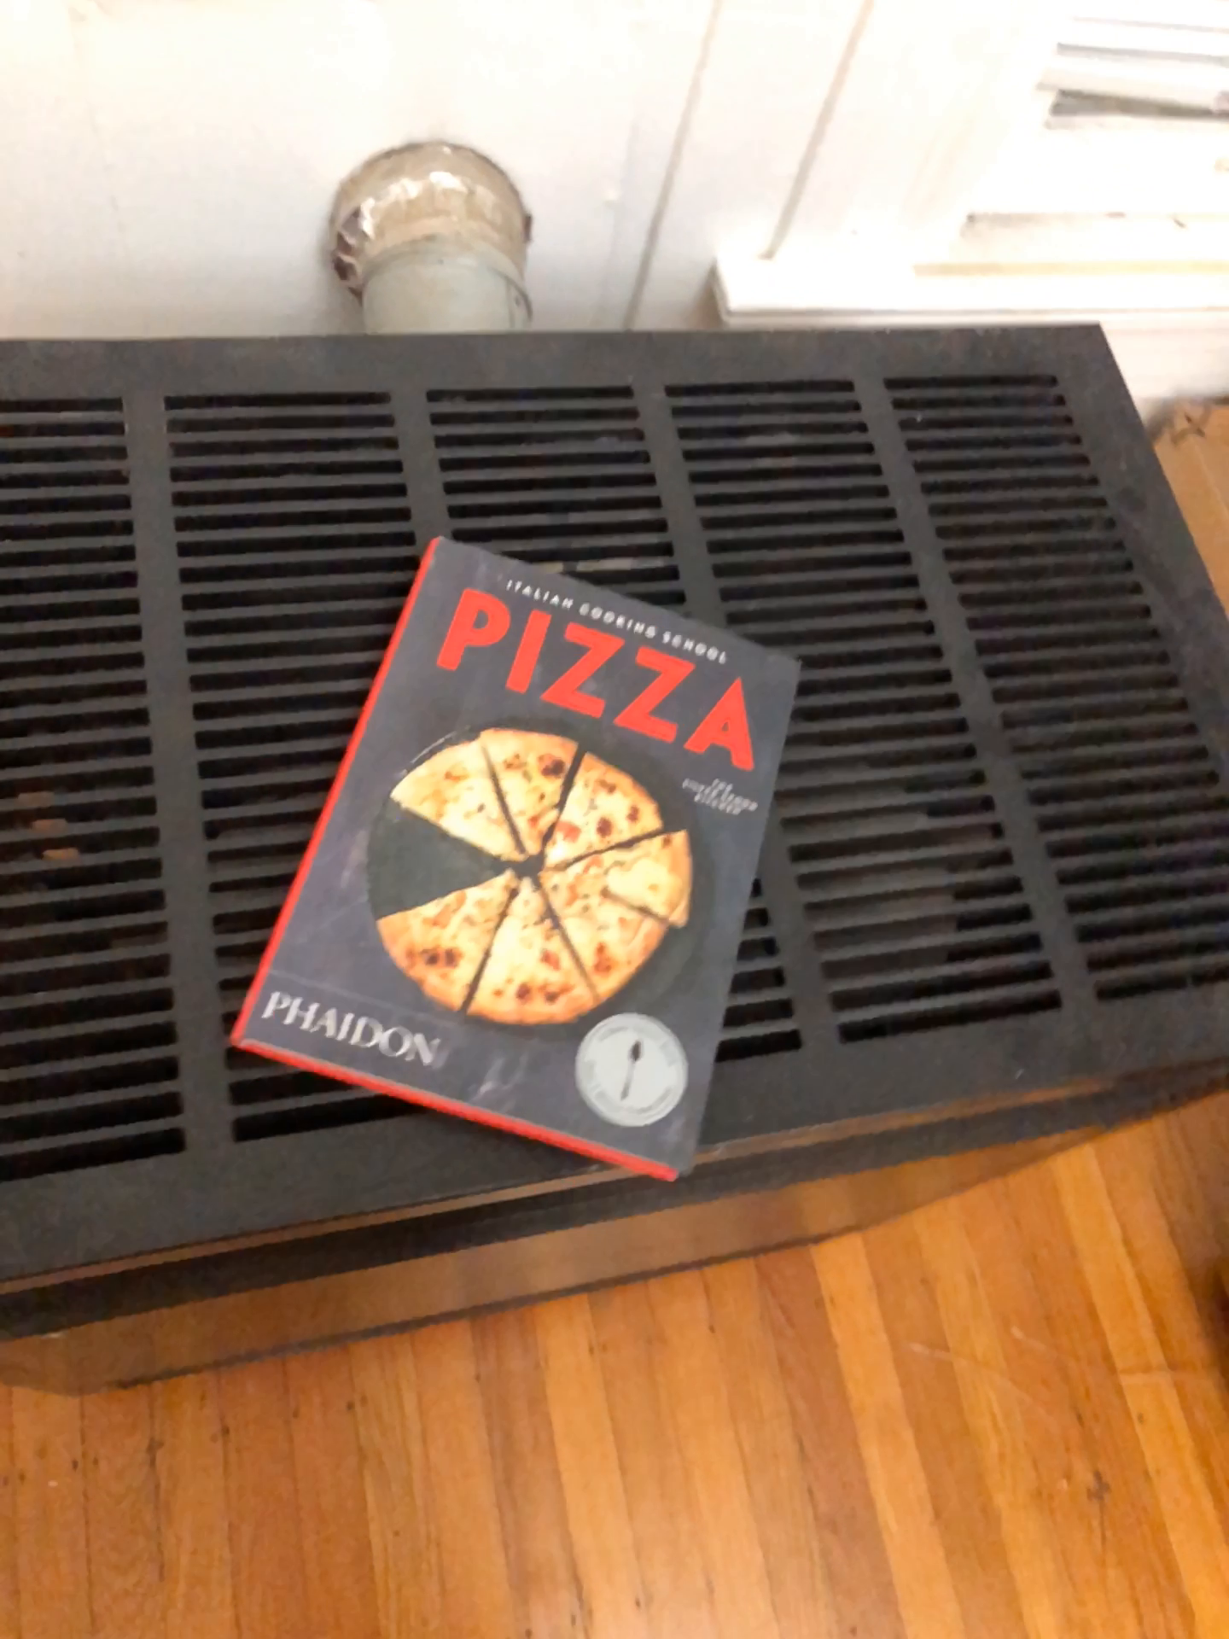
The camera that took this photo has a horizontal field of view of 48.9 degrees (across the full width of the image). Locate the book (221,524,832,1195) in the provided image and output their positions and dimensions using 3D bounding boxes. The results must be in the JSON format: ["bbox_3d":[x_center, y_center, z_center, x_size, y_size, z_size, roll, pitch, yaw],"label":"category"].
[{"bbox_3d":[-0.022,0.006,0.528,0.180,0.020,0.231,18,62,-3],"label":"book"}]
